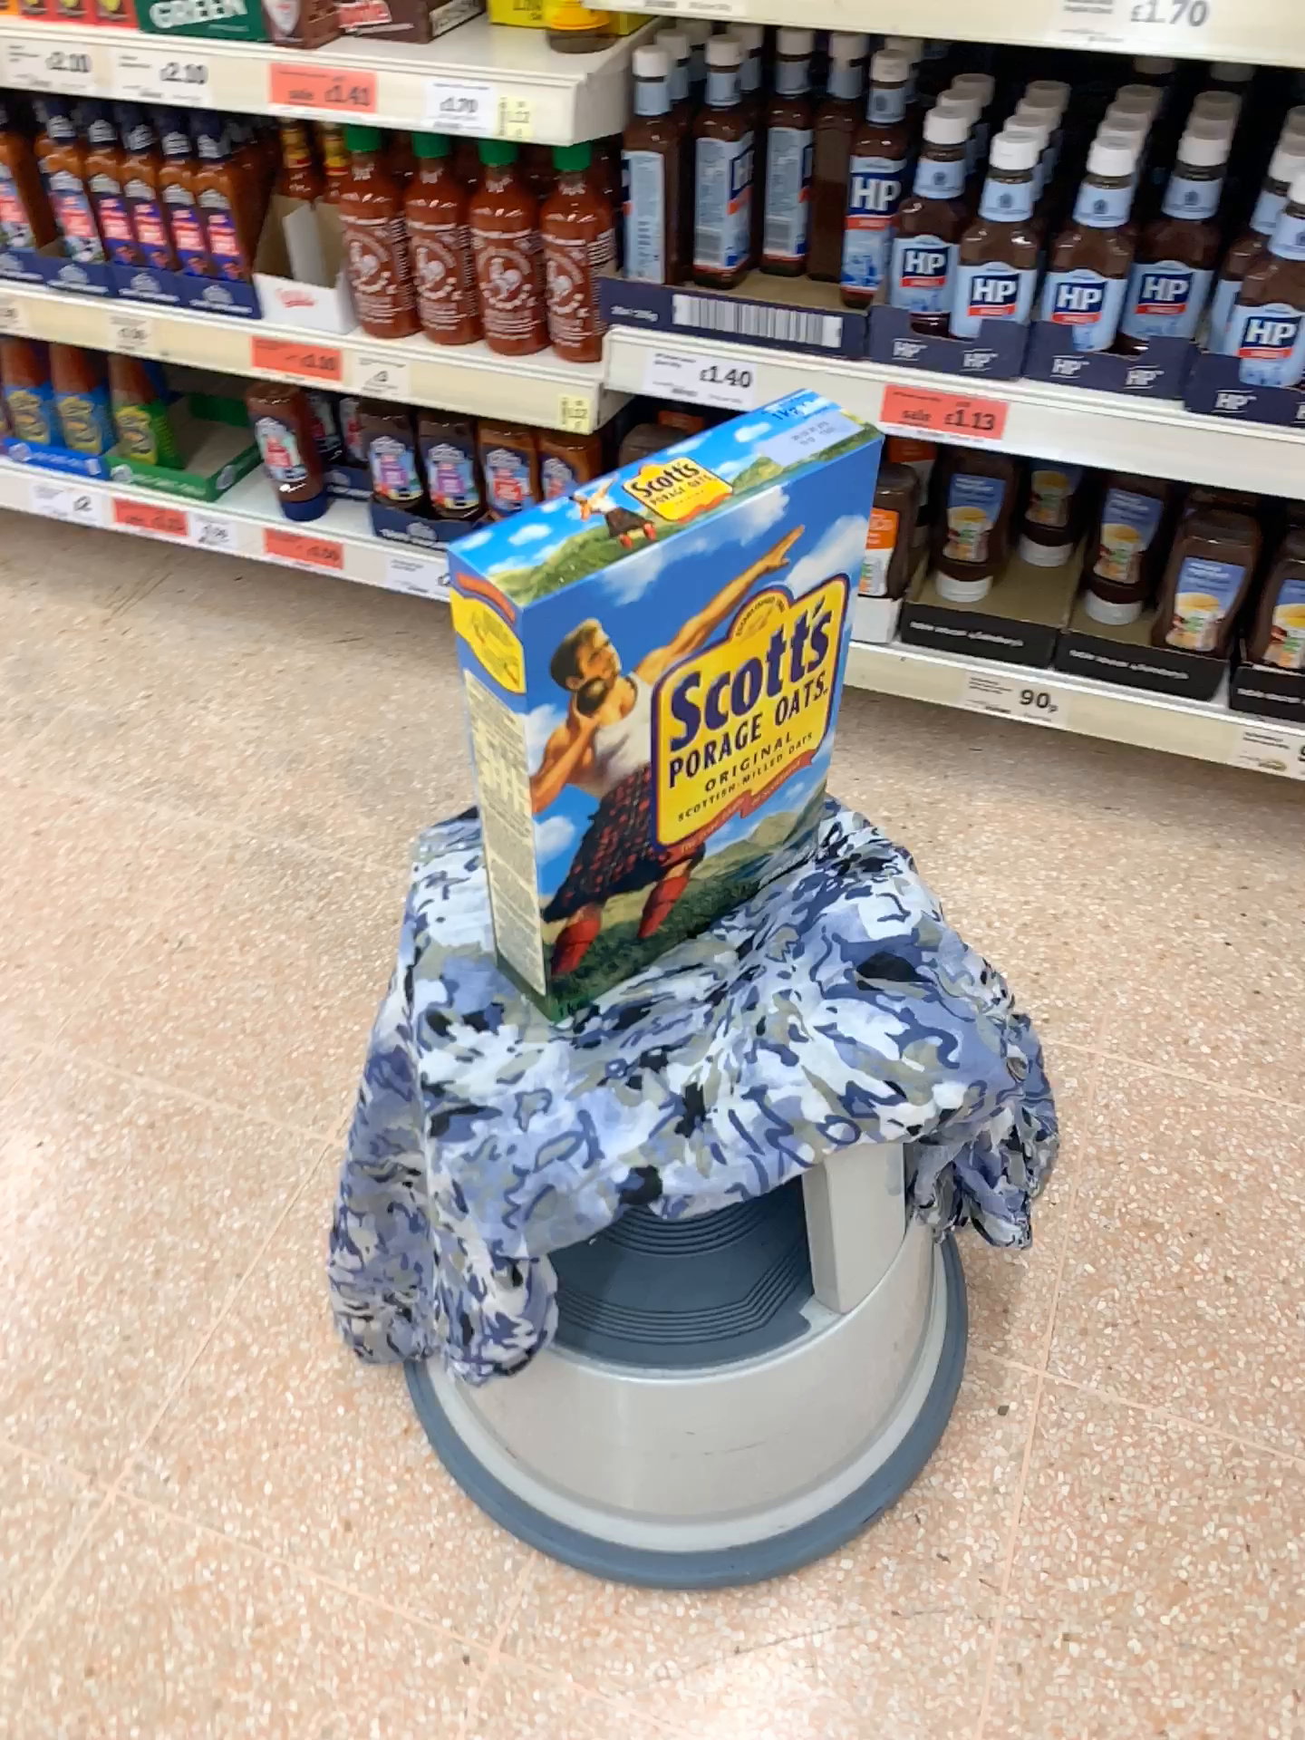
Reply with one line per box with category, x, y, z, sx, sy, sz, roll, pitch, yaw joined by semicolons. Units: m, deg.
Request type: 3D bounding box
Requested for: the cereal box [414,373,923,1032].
cereal box;0.011;-0.070;0.617;0.211;0.248;0.060;-31;56;-25
